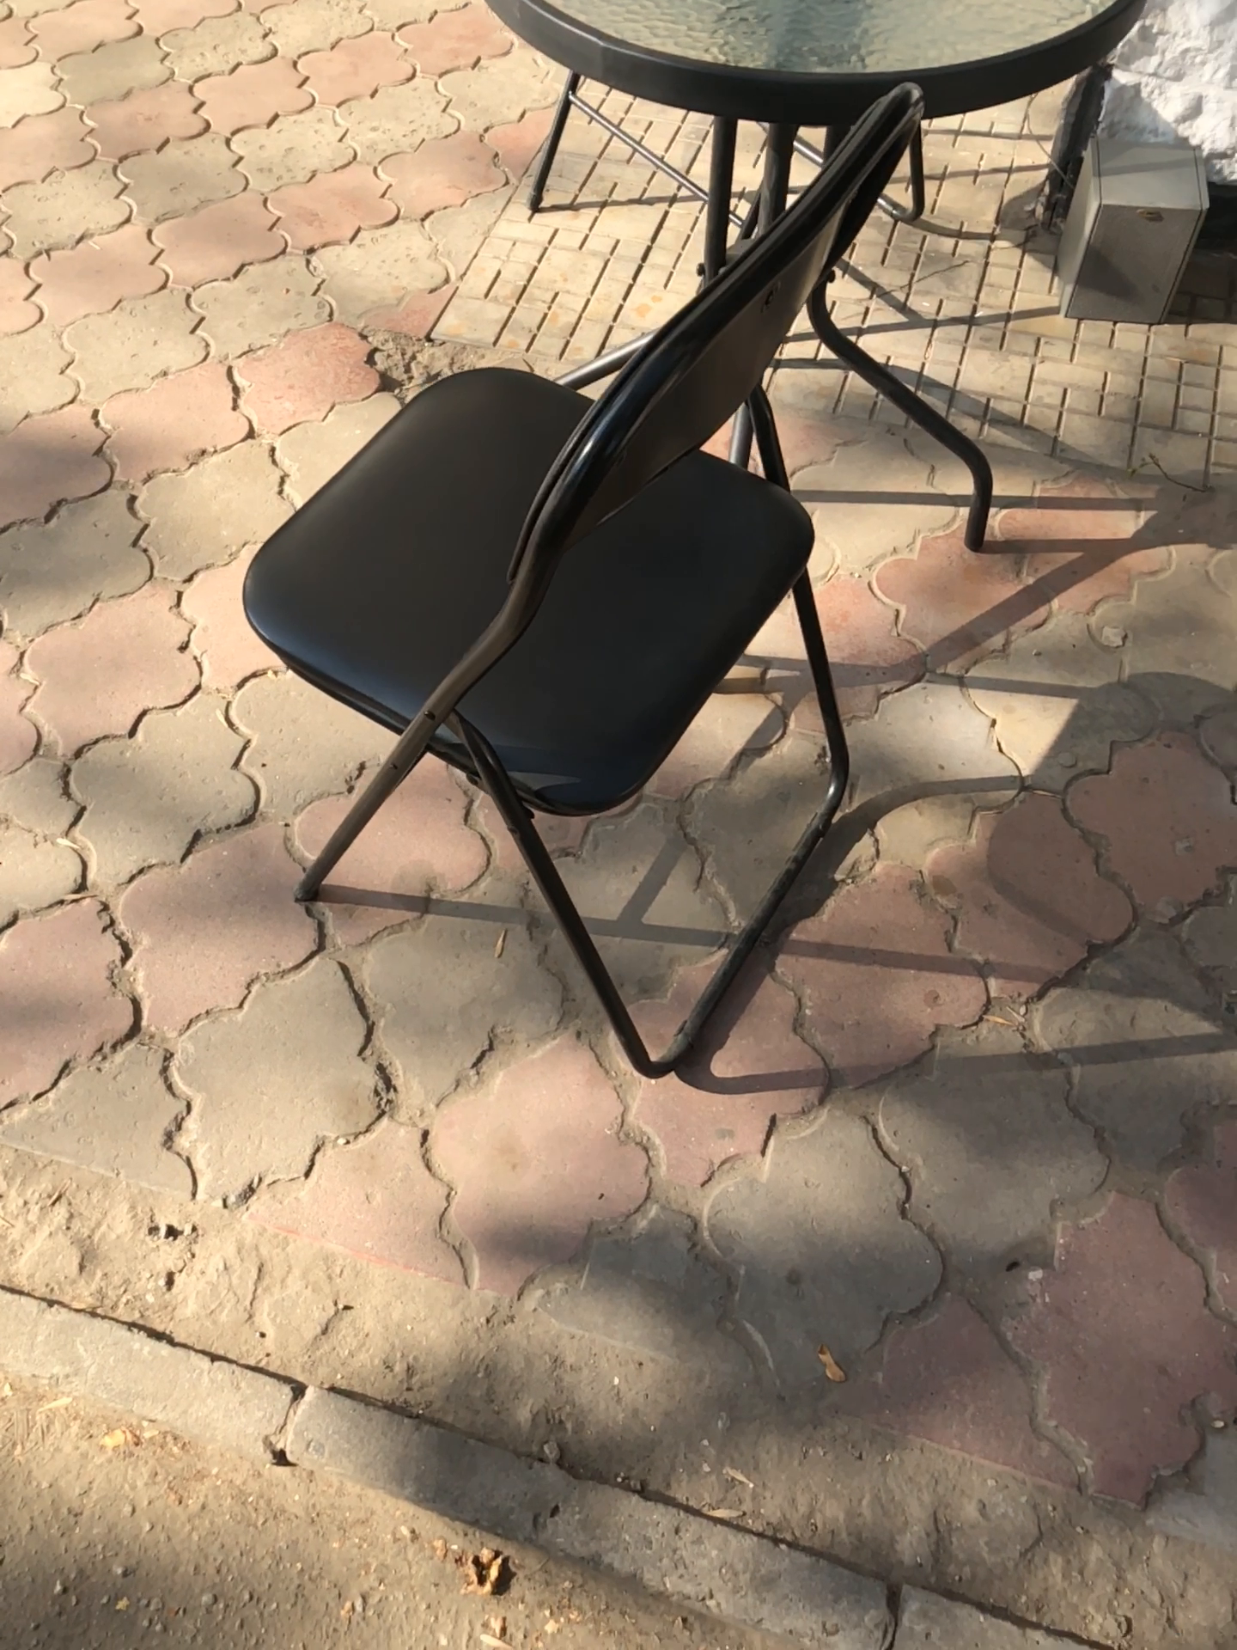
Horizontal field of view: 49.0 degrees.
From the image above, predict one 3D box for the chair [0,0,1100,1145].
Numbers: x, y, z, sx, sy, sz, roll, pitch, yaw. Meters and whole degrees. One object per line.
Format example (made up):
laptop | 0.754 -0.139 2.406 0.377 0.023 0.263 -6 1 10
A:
chair | -0.040 -0.207 1.078 0.500 0.638 0.531 26 59 17
